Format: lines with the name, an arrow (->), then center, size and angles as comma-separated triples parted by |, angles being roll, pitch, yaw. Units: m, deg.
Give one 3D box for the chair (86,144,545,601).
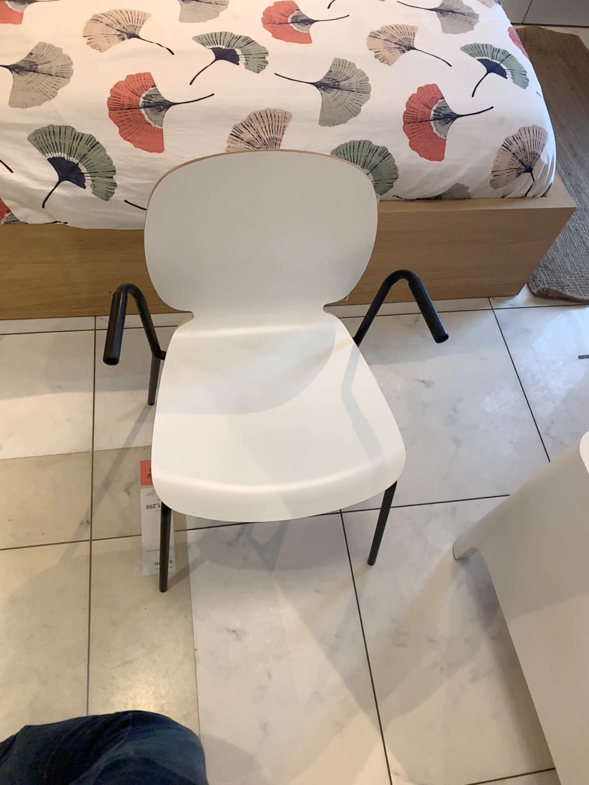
chair -> -0.036, 0.009, 1.133 | 0.550, 0.699, 0.541 | -4, 61, -10
